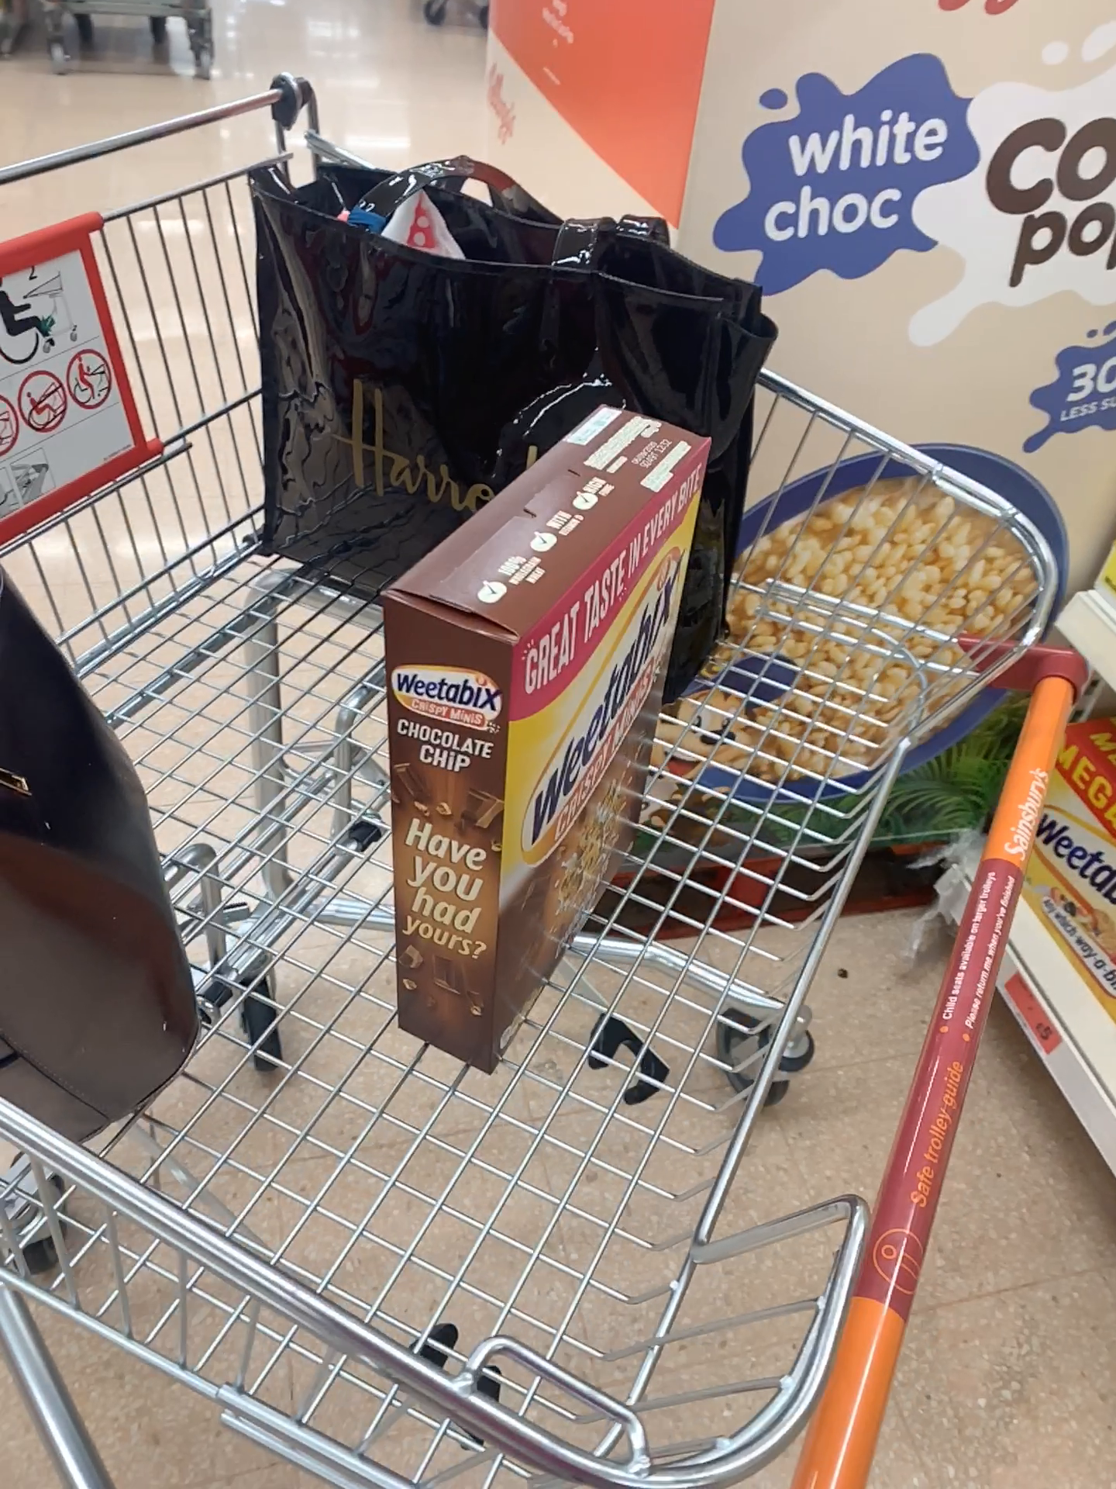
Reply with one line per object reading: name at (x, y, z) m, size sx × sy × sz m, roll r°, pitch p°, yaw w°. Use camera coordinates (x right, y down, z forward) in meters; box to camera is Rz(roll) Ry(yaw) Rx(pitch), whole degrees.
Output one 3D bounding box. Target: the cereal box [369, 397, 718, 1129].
cereal box at (-0.013, 0.017, 0.606) m, size 0.070 × 0.327 × 0.212 m, roll 21°, pitch 42°, yaw 15°
